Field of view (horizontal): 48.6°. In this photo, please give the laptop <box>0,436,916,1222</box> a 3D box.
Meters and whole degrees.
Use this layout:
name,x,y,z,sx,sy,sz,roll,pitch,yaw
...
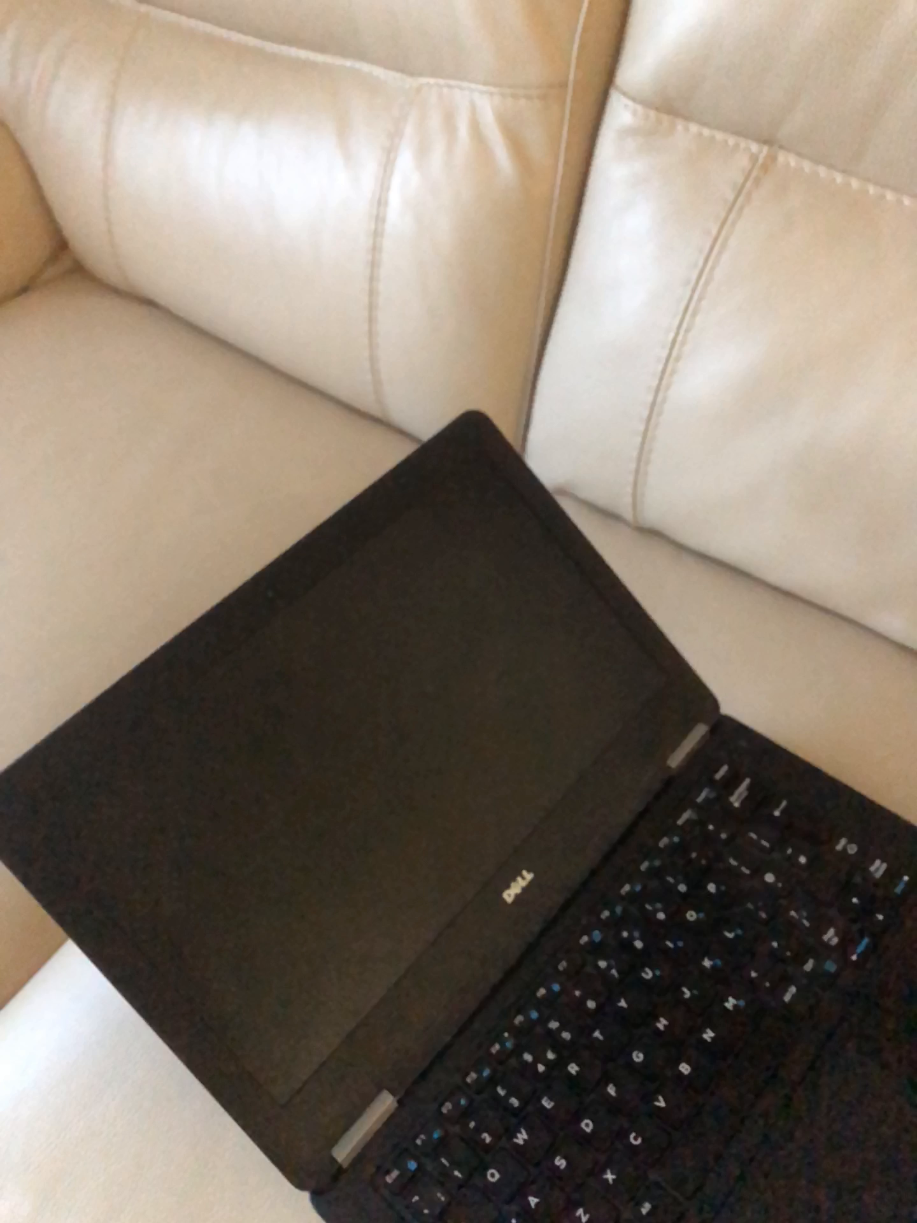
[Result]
name,x,y,z,sx,sy,sz,roll,pitch,yaw
laptop,0.045,0.117,0.433,0.375,0.124,0.306,31,60,31
